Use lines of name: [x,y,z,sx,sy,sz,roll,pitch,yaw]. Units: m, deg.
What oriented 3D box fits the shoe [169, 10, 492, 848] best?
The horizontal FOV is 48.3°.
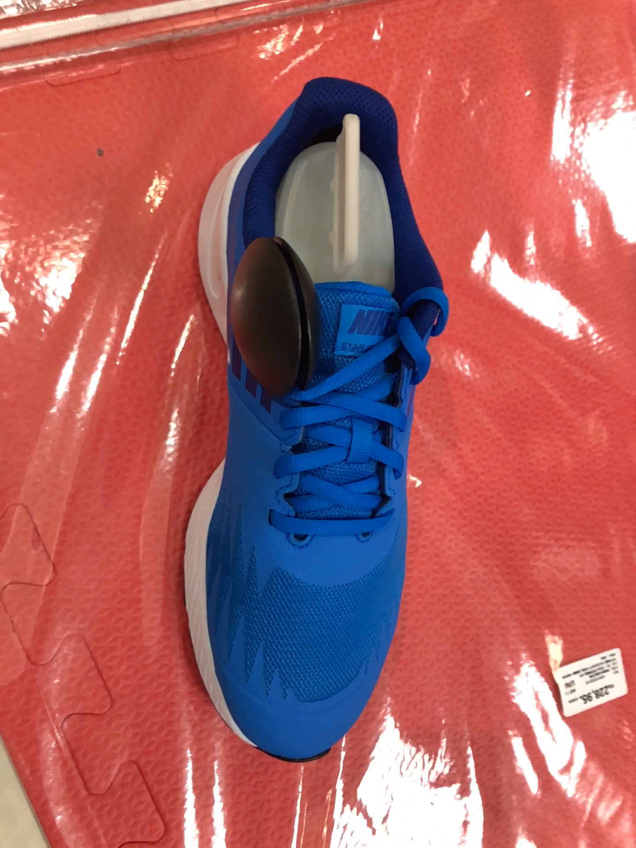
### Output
shoe: [0.002,0.000,0.299,0.100,0.100,0.280,4,83,-20]
